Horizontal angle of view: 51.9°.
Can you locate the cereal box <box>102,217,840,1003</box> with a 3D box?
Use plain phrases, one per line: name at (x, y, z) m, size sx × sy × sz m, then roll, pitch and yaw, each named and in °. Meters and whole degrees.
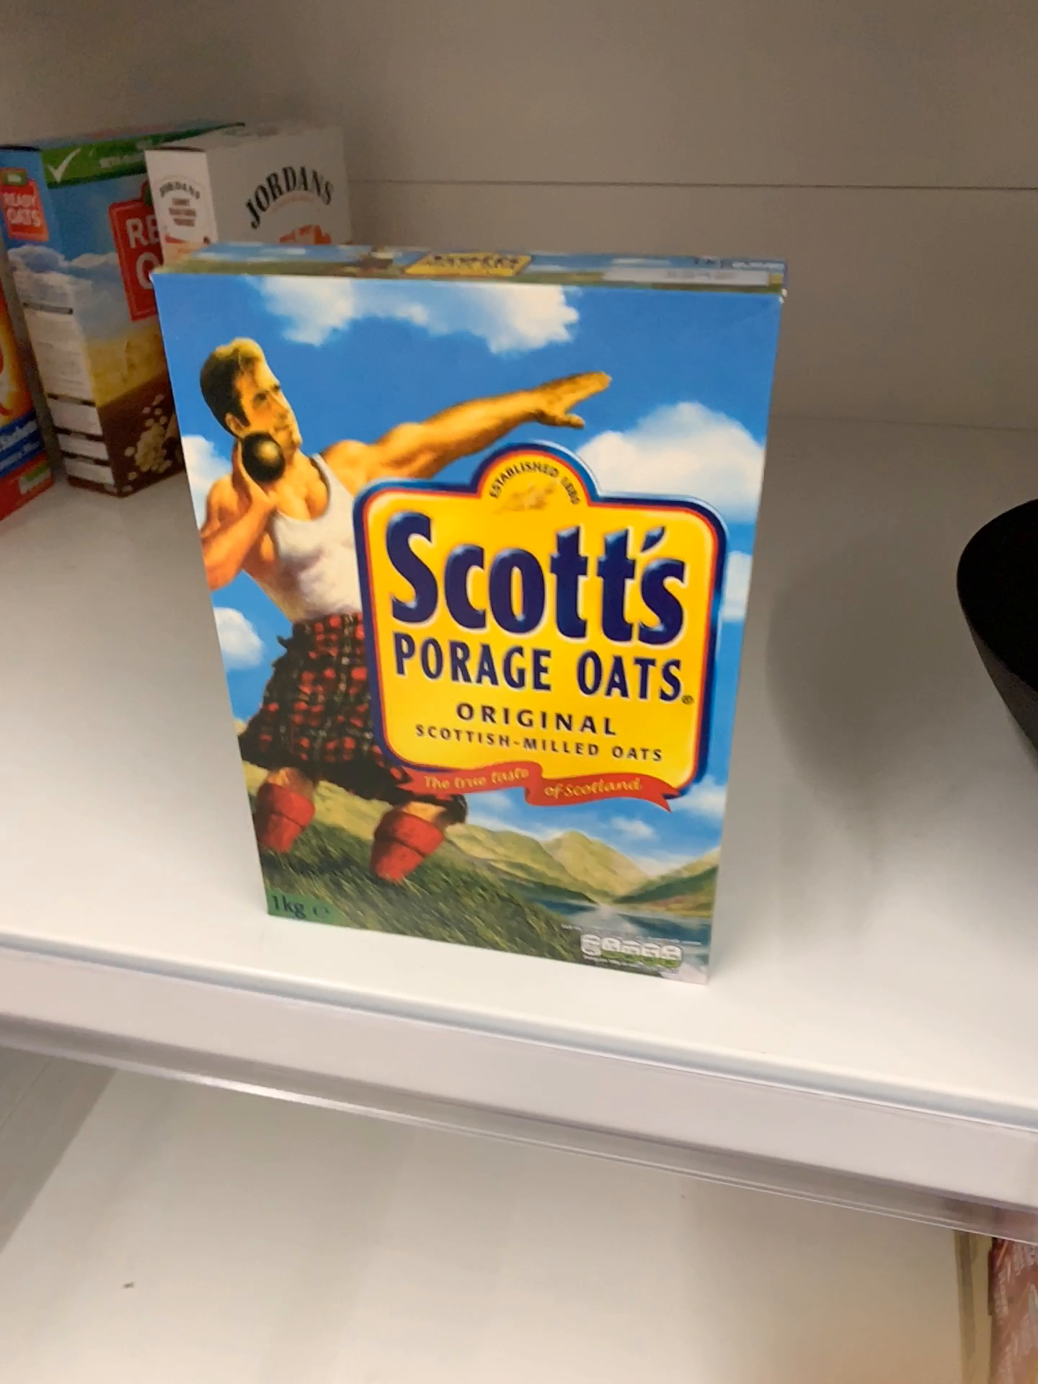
cereal box at (-0.010, -0.022, 0.393) m, size 0.210 × 0.267 × 0.071 m, roll 6°, pitch 33°, yaw 12°
